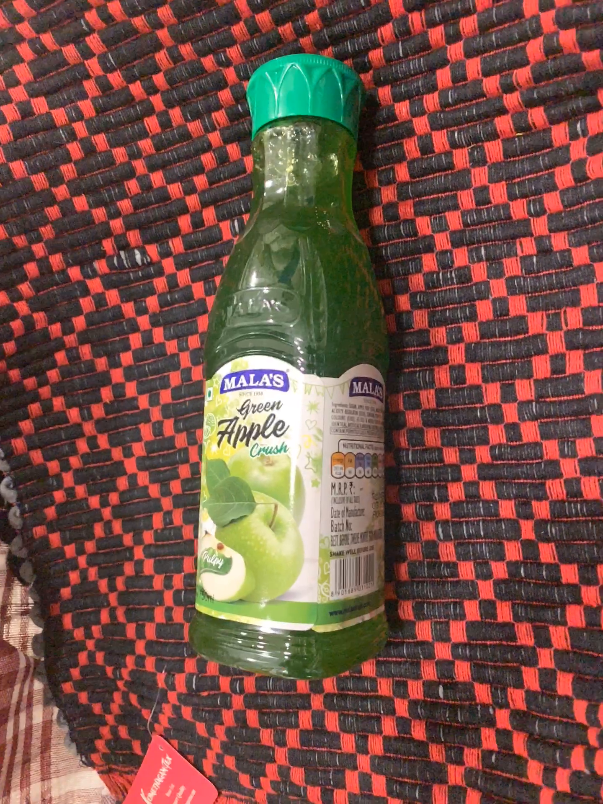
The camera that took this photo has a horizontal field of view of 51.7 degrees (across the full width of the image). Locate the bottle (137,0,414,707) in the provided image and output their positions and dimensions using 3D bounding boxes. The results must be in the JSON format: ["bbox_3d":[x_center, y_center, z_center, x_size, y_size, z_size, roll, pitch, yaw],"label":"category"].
[{"bbox_3d":[-0.003,-0.025,0.253,0.070,0.070,0.250,-1,79,27],"label":"bottle"}]
